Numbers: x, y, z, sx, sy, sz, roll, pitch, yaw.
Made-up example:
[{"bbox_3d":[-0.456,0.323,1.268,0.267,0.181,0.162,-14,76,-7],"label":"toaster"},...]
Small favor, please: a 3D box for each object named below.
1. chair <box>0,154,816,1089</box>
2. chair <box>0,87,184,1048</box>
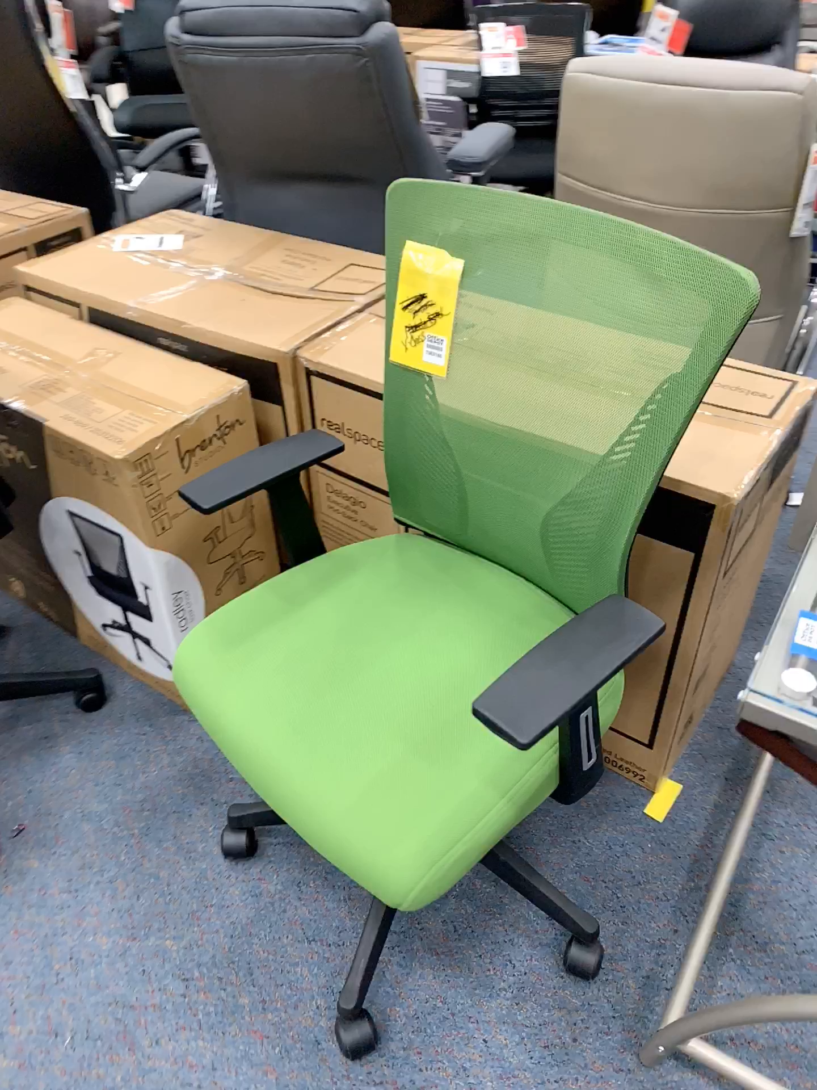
[{"bbox_3d":[0.008,0.112,1.043,0.598,0.912,0.646,-31,47,-32],"label":"chair"},{"bbox_3d":[-0.858,-0.006,1.161,0.658,0.972,0.646,-31,47,-32],"label":"chair"}]
